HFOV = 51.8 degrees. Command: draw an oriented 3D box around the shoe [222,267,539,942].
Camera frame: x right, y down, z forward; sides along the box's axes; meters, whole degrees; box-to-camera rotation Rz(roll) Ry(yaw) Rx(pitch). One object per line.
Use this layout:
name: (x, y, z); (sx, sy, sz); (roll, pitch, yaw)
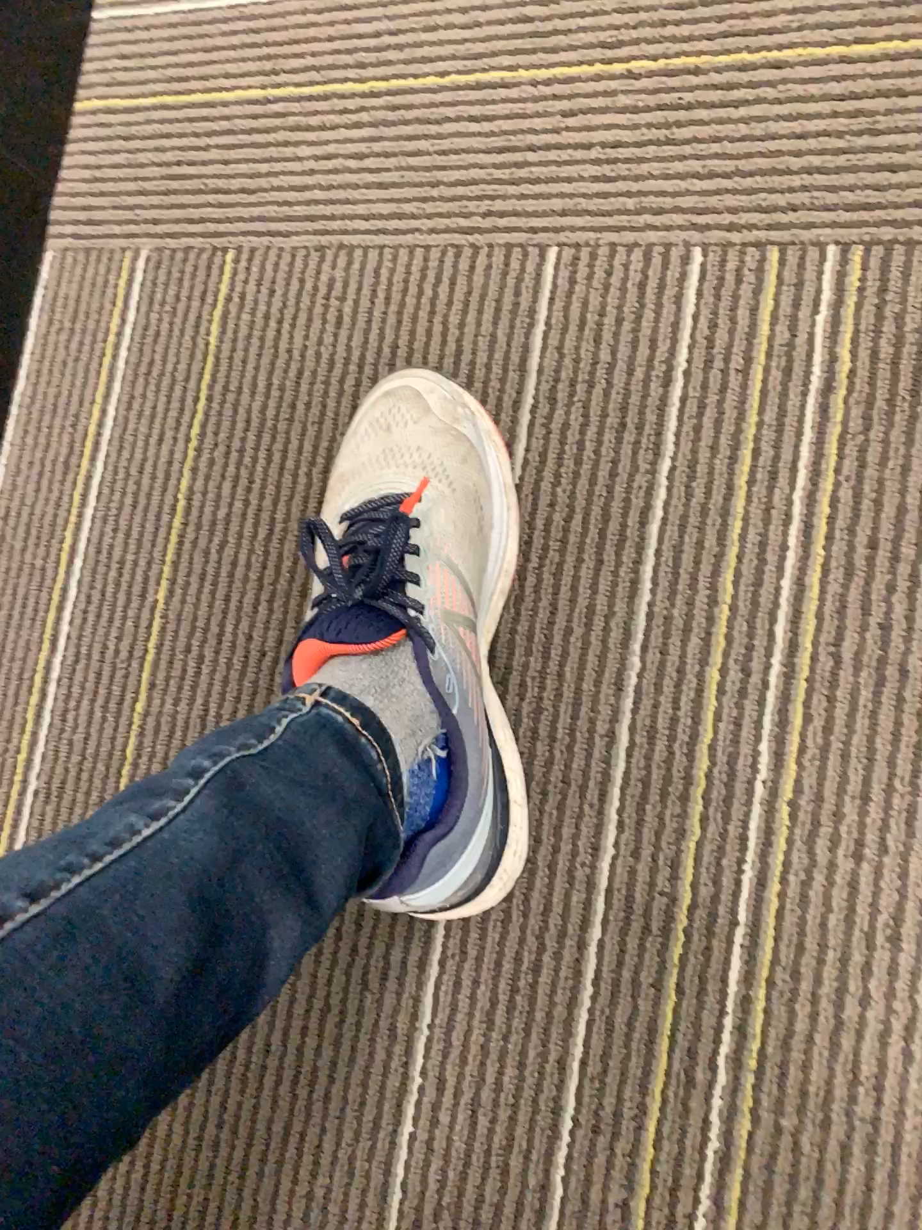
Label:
shoe: (-0.036, -0.001, 0.433); (0.110, 0.090, 0.270); (-6, 80, 18)
